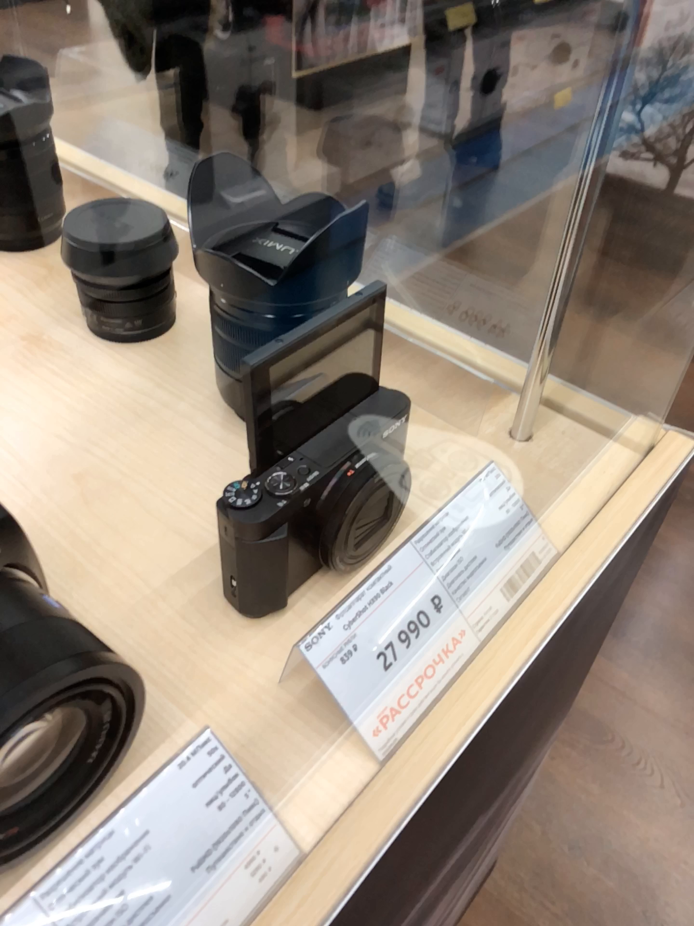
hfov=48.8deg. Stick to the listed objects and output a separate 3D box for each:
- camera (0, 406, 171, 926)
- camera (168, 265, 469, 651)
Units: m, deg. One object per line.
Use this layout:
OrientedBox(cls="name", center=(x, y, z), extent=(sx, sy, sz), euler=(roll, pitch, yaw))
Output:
OrientedBox(cls="camera", center=(-0.155, 0.072, 0.240), extent=(0.136, 0.078, 0.133), euler=(31, 49, 27))
OrientedBox(cls="camera", center=(-0.009, -0.003, 0.300), extent=(0.050, 0.107, 0.100), euler=(31, 49, 27))
